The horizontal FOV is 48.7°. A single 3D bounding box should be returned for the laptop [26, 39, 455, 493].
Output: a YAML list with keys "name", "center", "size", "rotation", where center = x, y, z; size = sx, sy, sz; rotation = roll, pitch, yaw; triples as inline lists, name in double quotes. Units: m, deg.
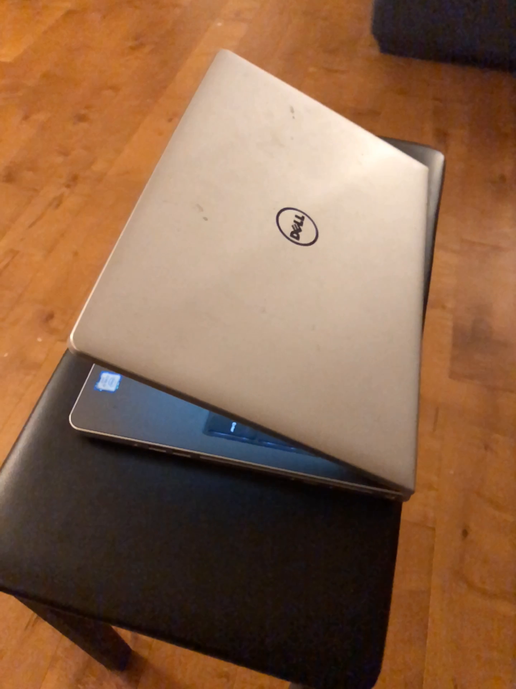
- name: "laptop"
  center: [0.022, -0.094, 0.472]
  size: [0.247, 0.107, 0.367]
  rotation: [11, 54, 4]
